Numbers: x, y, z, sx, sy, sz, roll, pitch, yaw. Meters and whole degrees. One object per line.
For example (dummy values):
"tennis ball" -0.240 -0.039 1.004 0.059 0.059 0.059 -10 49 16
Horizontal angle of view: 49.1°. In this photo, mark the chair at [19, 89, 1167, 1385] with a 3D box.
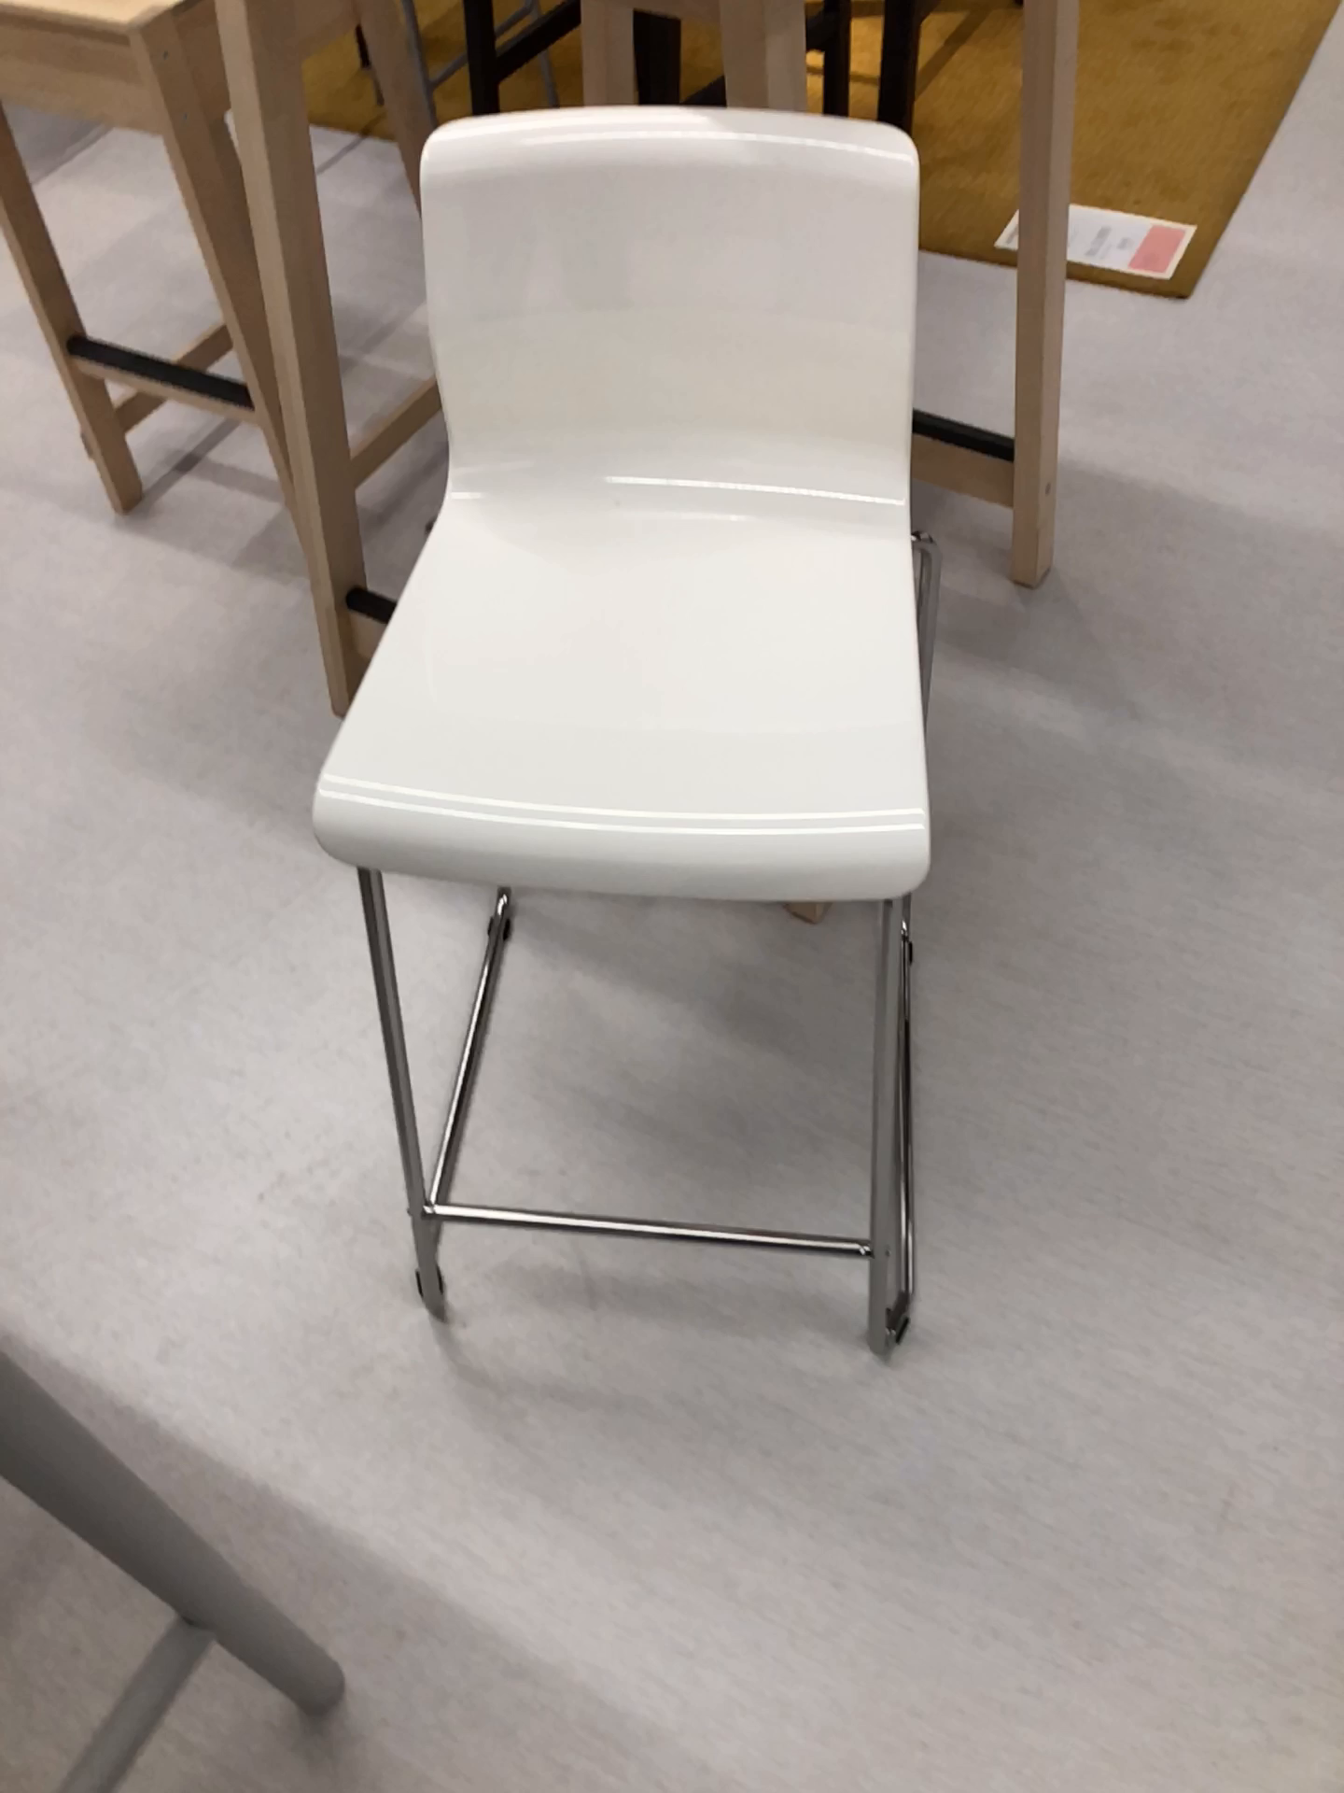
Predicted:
"chair" -0.001 -0.061 1.130 0.500 0.825 0.553 2 53 5
